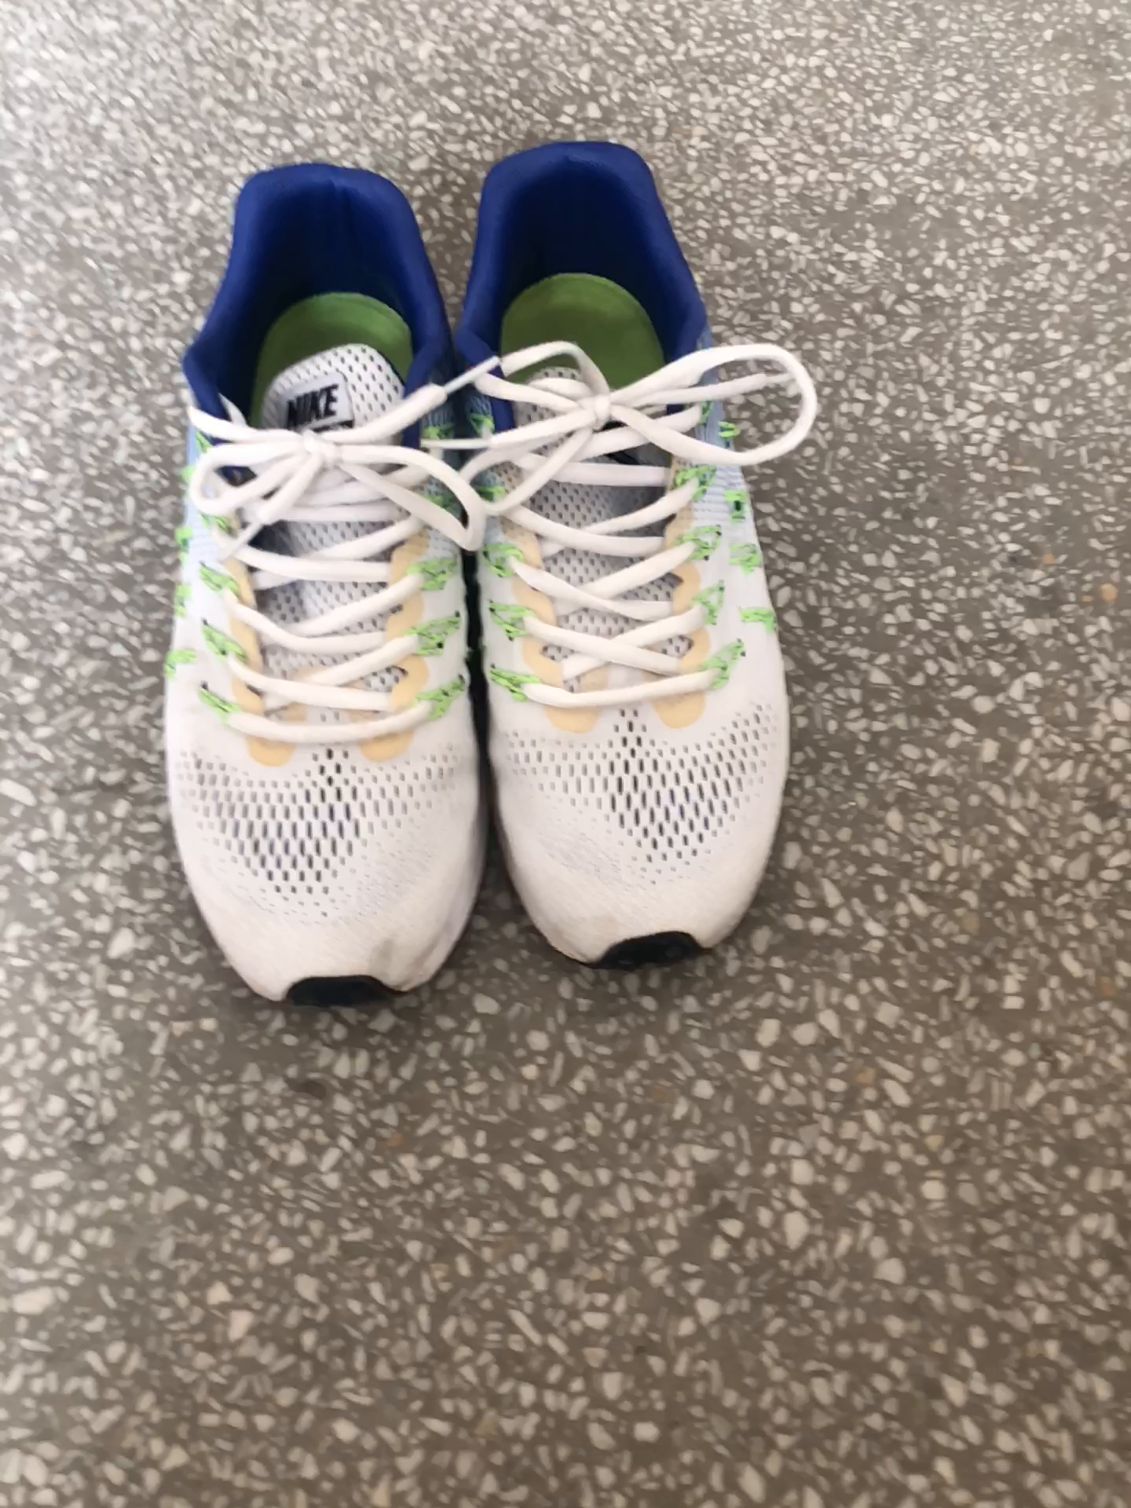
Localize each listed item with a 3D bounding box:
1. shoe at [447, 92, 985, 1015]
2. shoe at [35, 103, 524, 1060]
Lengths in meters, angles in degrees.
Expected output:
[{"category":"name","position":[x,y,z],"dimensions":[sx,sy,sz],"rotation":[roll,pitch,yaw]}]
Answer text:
[{"category":"shoe","position":[0.030,-0.070,0.412],"dimensions":[0.111,0.114,0.275],"rotation":[-5,65,-4]},{"category":"shoe","position":[-0.081,-0.060,0.404],"dimensions":[0.112,0.114,0.282],"rotation":[-4,65,-4]}]
